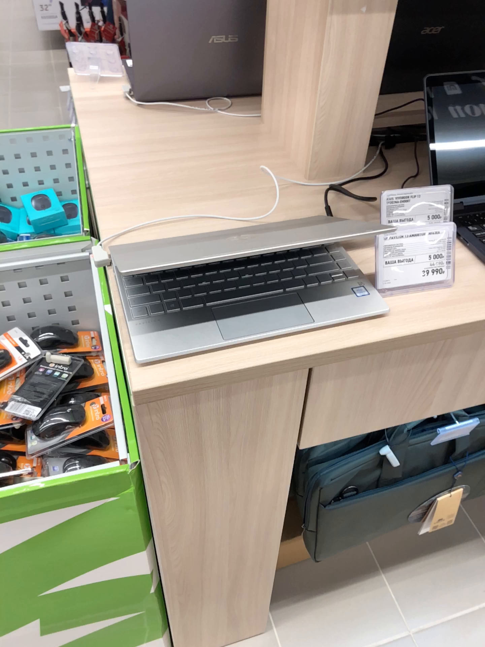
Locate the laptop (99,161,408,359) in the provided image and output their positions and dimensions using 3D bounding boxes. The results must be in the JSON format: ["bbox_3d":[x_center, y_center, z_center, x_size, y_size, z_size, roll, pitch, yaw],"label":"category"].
[{"bbox_3d":[0.002,-0.094,0.670,0.322,0.095,0.206,-11,45,-14],"label":"laptop"}]
